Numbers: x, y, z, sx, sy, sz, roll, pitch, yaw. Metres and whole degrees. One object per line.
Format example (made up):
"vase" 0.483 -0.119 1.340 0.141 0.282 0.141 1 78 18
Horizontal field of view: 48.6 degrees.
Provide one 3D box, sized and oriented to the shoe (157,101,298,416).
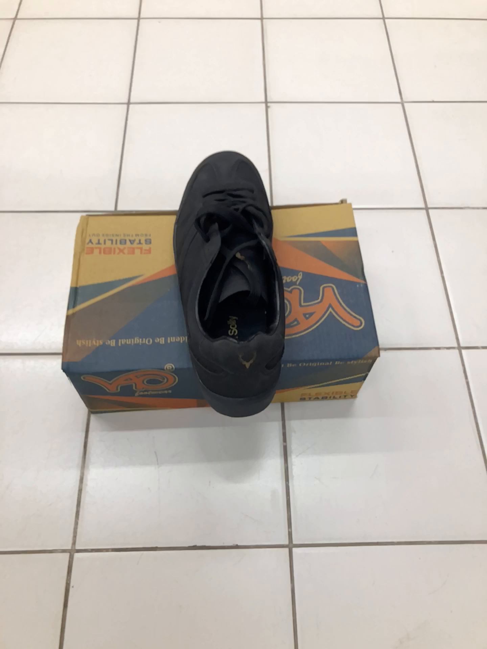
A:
"shoe" -0.021 -0.065 0.453 0.090 0.080 0.261 -4 62 -3
